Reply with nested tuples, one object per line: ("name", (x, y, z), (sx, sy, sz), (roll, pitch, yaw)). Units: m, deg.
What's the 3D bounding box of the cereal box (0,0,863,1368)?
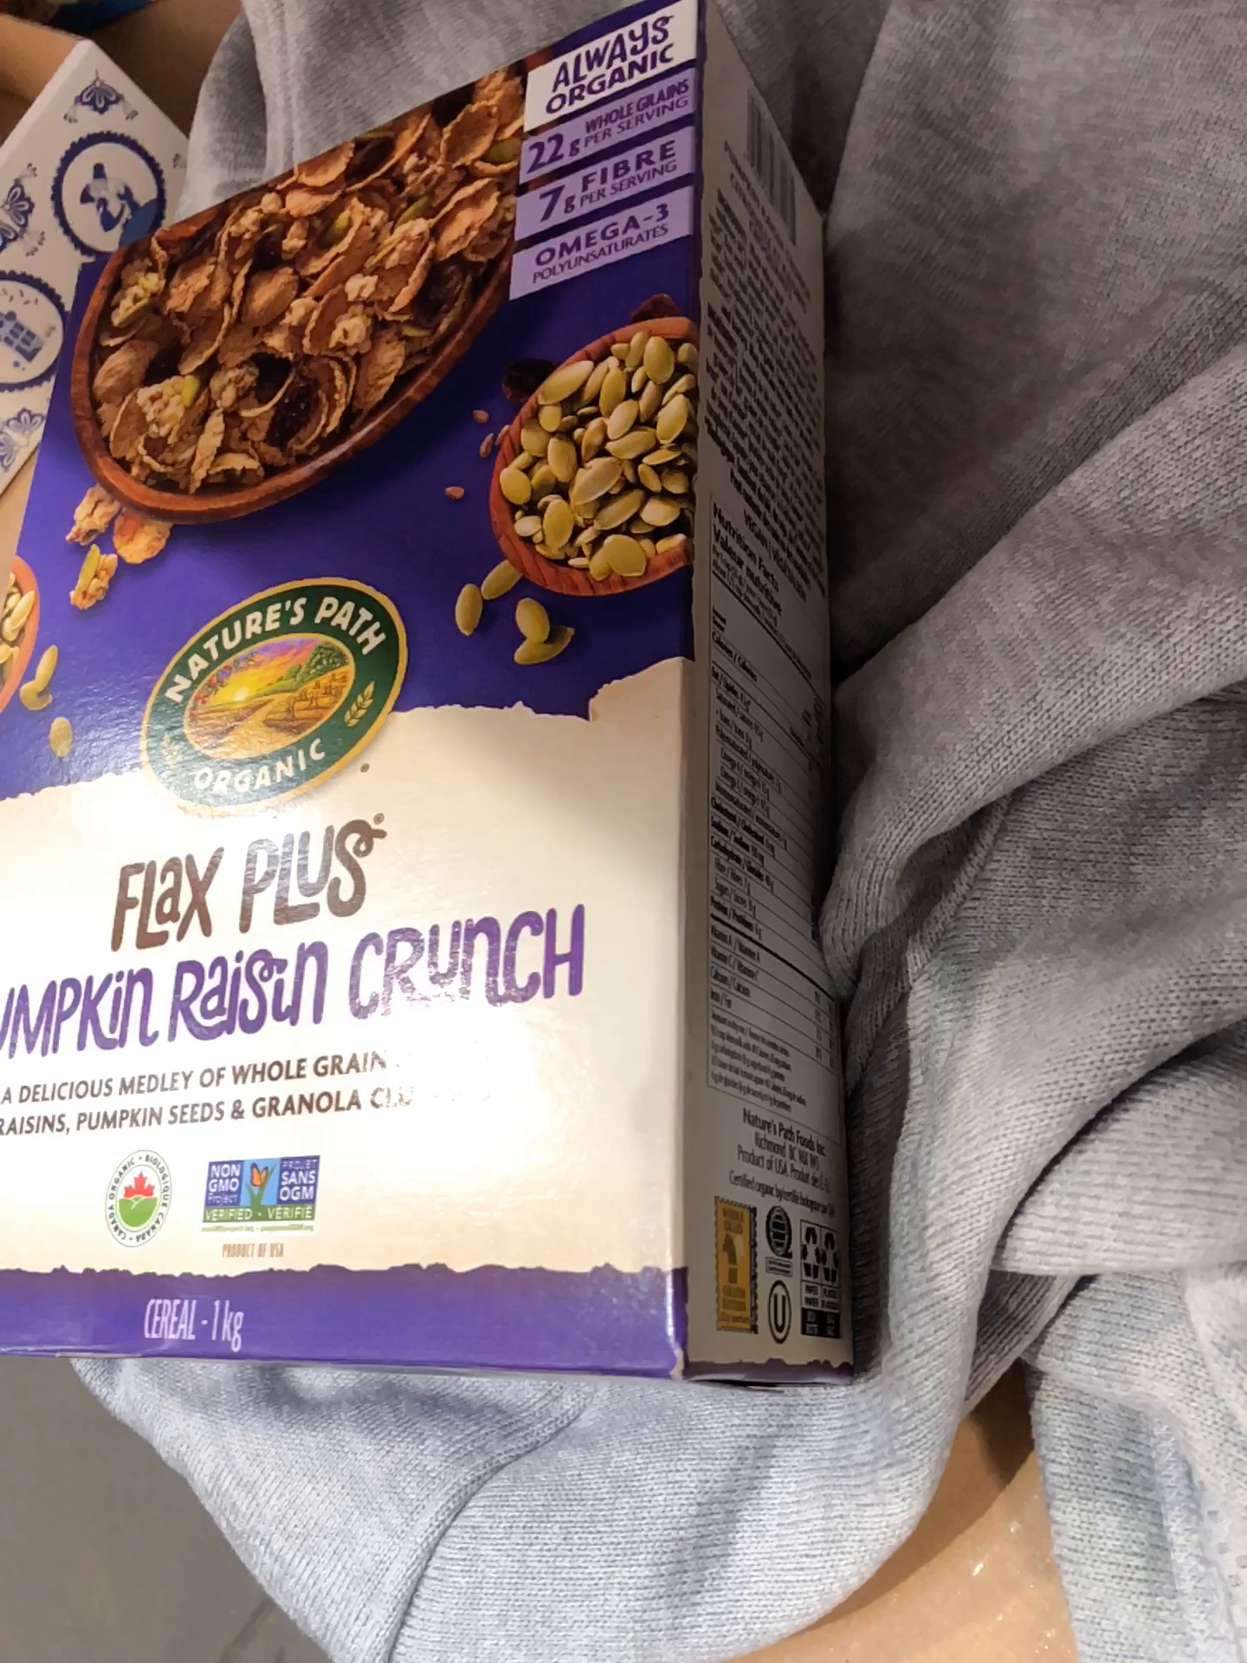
("cereal box", (-0.060, -0.037, 0.346), (0.211, 0.090, 0.310), (-9, 66, 27))
